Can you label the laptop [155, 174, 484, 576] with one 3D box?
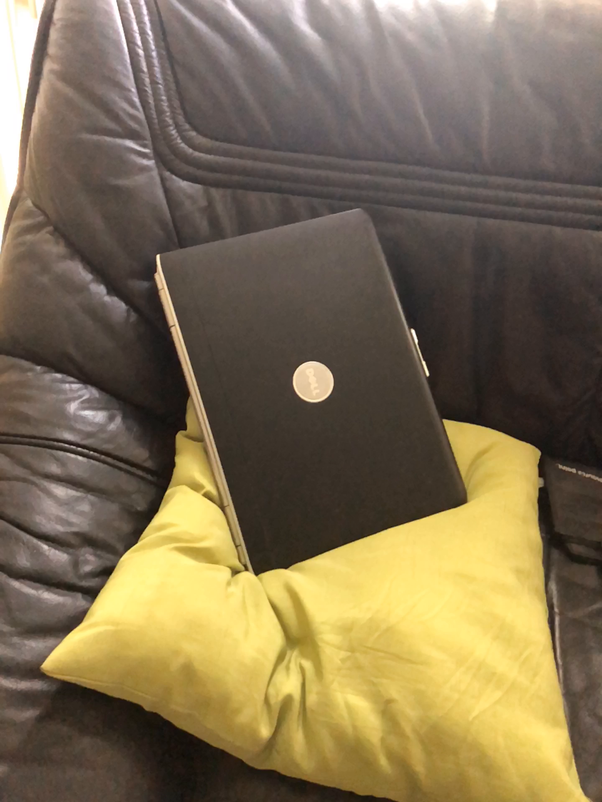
[{"bbox_3d":[0.018,-0.037,0.694,0.247,0.033,0.345,-16,82,-12],"label":"laptop"}]
